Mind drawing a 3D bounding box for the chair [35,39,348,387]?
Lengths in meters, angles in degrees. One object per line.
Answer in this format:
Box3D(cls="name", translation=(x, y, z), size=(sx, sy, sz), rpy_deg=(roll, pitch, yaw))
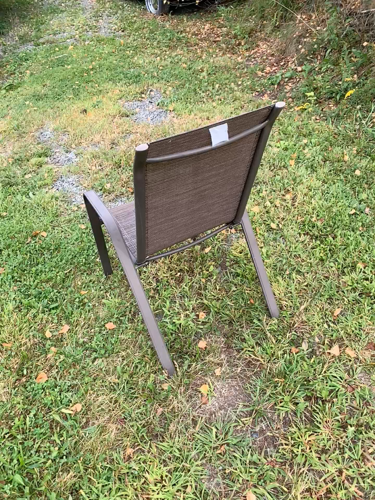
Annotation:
Box3D(cls="chair", translation=(-0.028, -0.160, 1.414), size=(0.621, 0.875, 0.743), rpy_deg=(-23, 47, -21))
